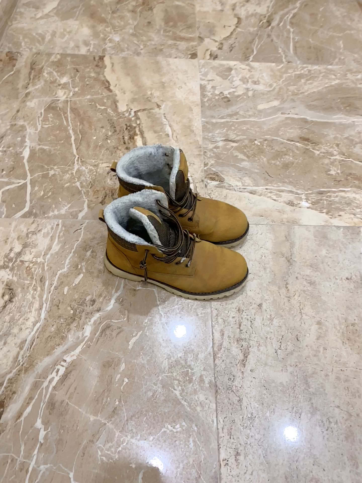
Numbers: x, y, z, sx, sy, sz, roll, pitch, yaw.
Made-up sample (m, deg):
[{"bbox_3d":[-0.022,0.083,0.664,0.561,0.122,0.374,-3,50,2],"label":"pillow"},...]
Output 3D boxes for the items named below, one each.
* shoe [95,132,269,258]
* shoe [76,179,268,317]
[{"bbox_3d":[0.003,-0.083,0.694,0.280,0.140,0.120,12,58,3],"label":"shoe"},{"bbox_3d":[-0.013,0.016,0.643,0.280,0.160,0.120,12,58,3],"label":"shoe"}]
